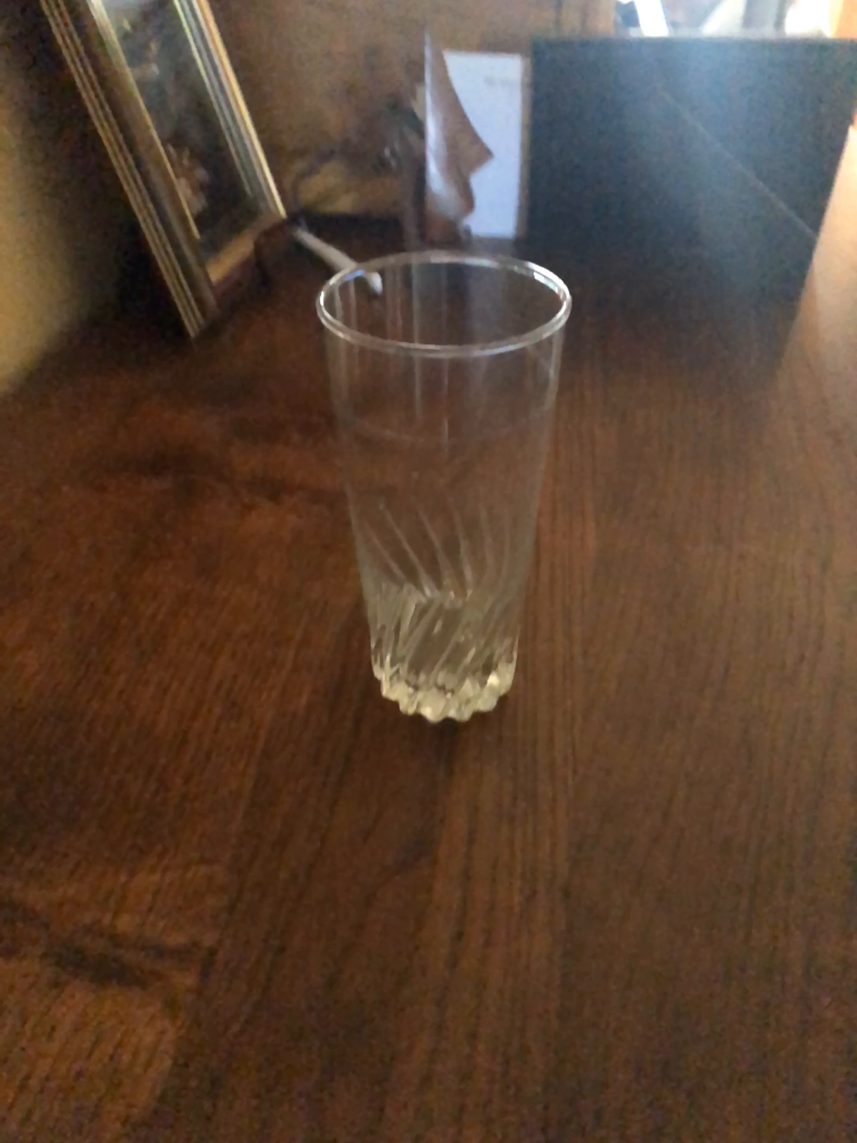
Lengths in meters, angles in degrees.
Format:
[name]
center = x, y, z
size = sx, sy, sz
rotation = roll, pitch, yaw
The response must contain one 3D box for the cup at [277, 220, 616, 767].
[cup]
center = 0.003, -0.023, 0.306
size = 0.070, 0.149, 0.070
rotation = 0, 38, 0
